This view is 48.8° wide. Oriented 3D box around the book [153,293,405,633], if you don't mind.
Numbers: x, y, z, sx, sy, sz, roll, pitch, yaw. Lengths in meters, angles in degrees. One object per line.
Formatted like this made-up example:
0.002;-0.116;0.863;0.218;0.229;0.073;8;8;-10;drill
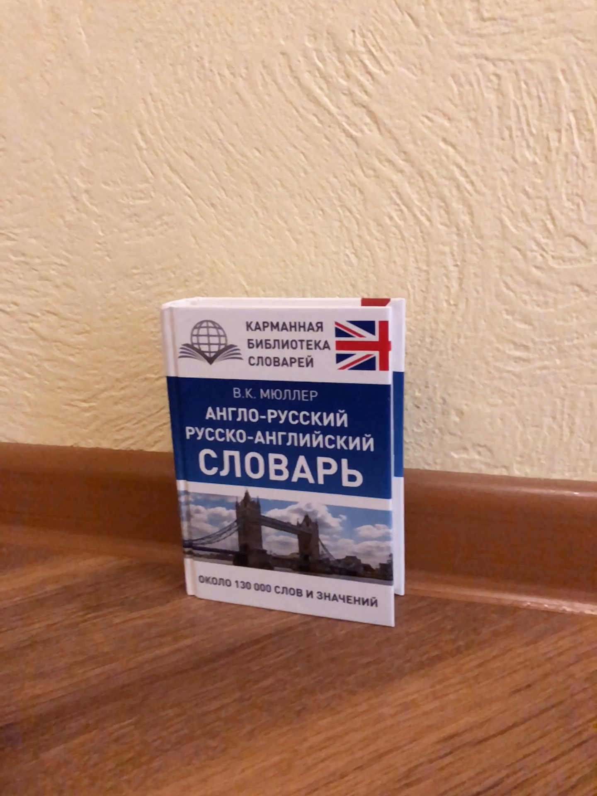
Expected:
-0.005;0.028;0.308;0.102;0.146;0.037;2;17;18;book
